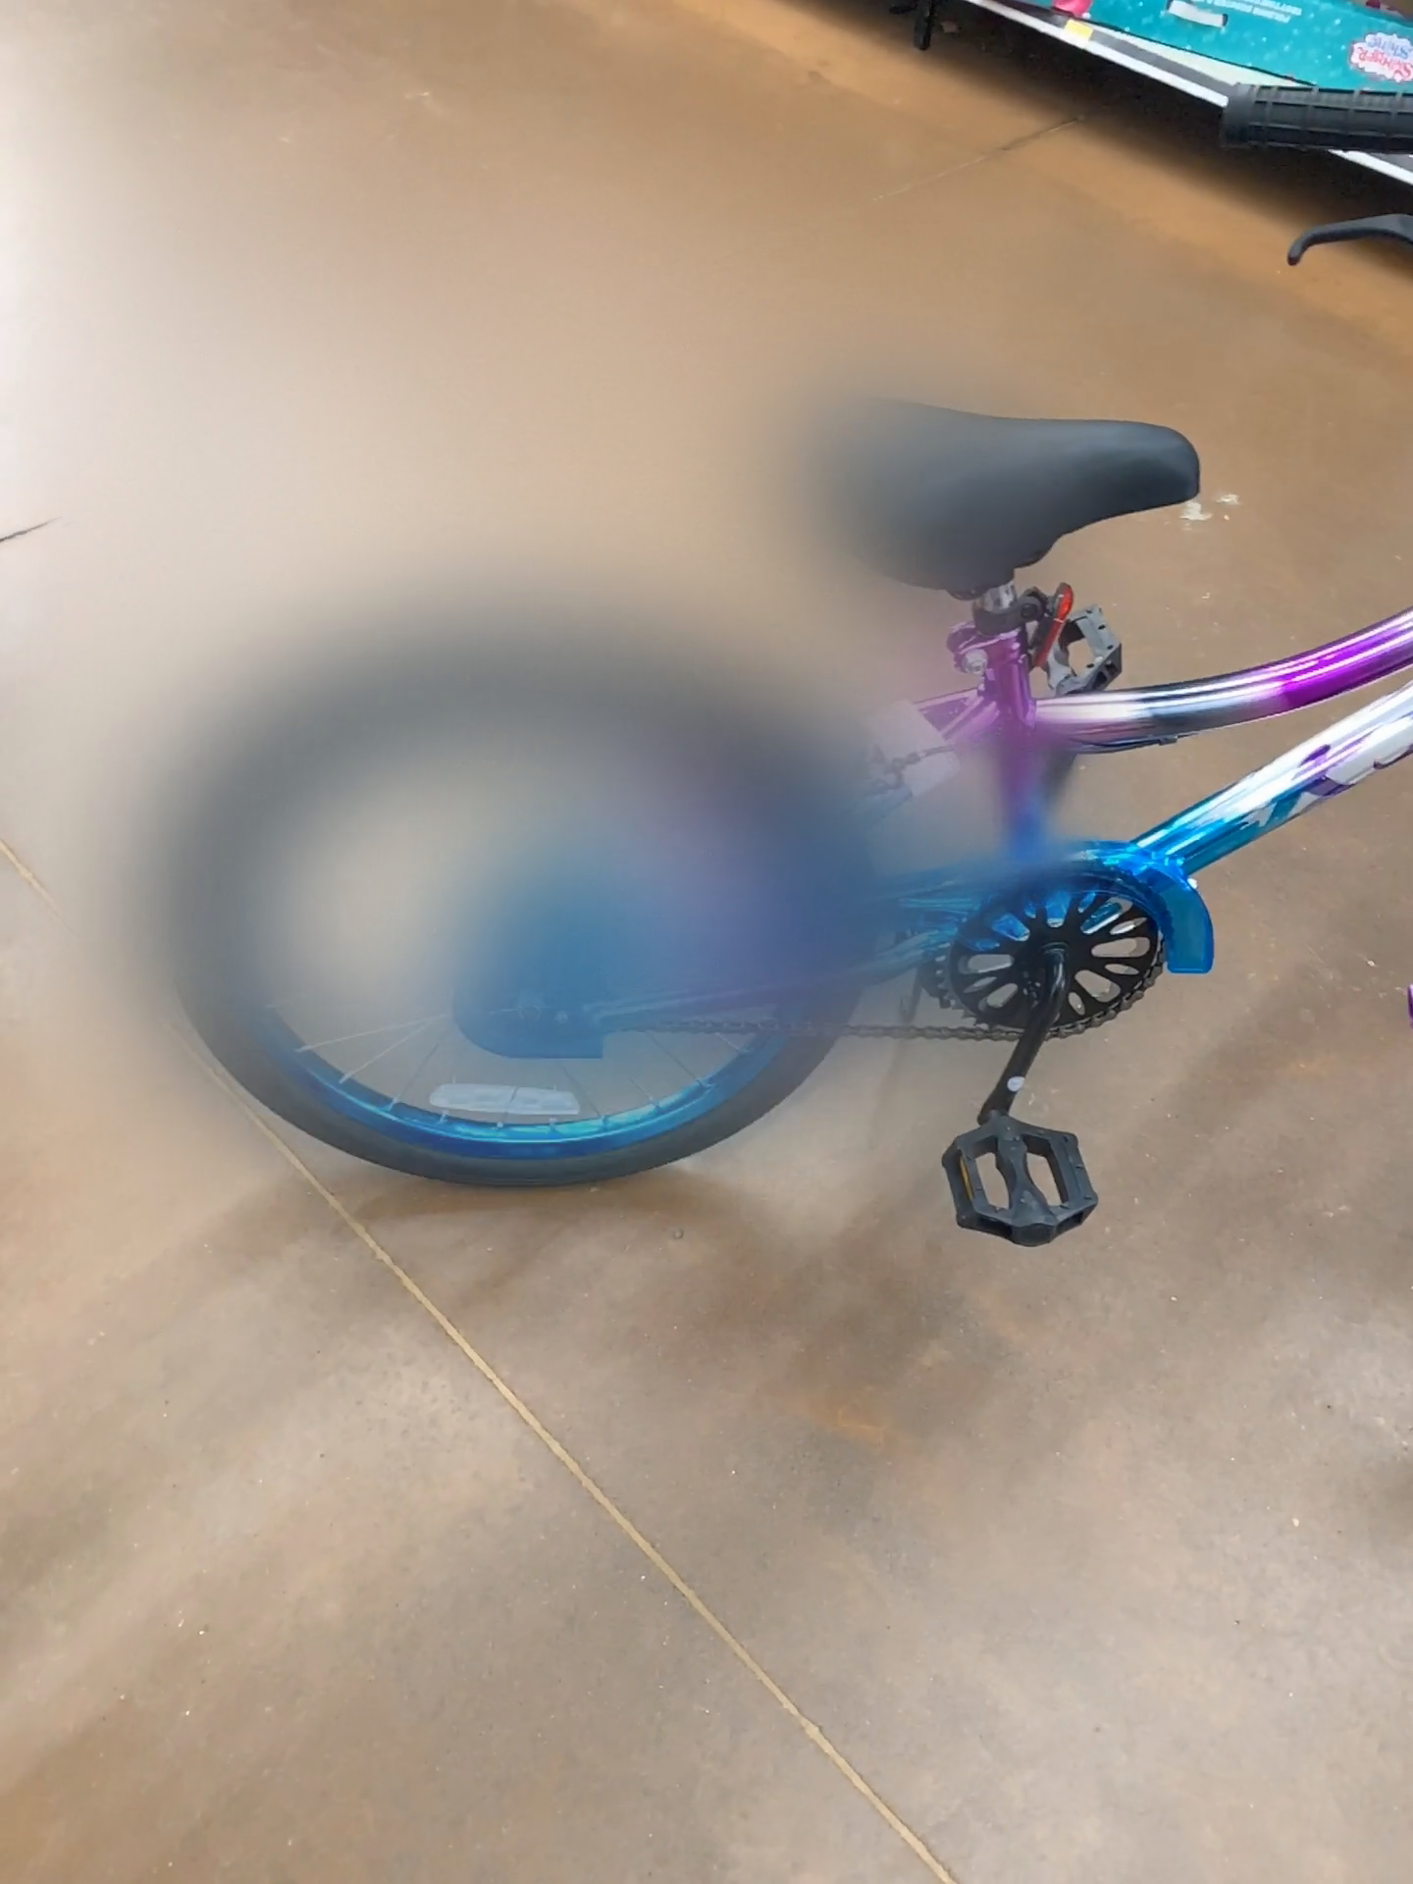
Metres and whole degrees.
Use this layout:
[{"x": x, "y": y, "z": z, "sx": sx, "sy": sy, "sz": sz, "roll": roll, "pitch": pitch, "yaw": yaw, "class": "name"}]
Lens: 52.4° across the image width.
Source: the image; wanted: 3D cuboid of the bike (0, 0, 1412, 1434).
[{"x": 0.221, "y": -0.265, "z": 0.958, "sx": 1.120, "sy": 0.877, "sz": 0.622, "roll": -6, "pitch": 52, "yaw": -13, "class": "bike"}]
